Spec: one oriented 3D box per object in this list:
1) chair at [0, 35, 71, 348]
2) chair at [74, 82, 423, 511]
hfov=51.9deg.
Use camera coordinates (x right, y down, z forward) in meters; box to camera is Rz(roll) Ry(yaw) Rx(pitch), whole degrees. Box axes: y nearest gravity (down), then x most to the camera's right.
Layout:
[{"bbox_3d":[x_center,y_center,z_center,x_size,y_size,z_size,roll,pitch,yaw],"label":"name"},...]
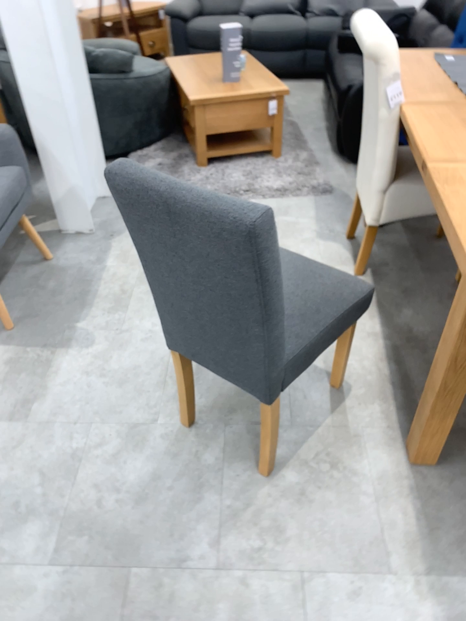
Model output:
[{"bbox_3d":[-1.036,-0.412,1.678,0.582,0.830,0.670,-2,41,0],"label":"chair"},{"bbox_3d":[0.074,-0.049,1.278,0.446,0.830,0.646,25,47,28],"label":"chair"}]
